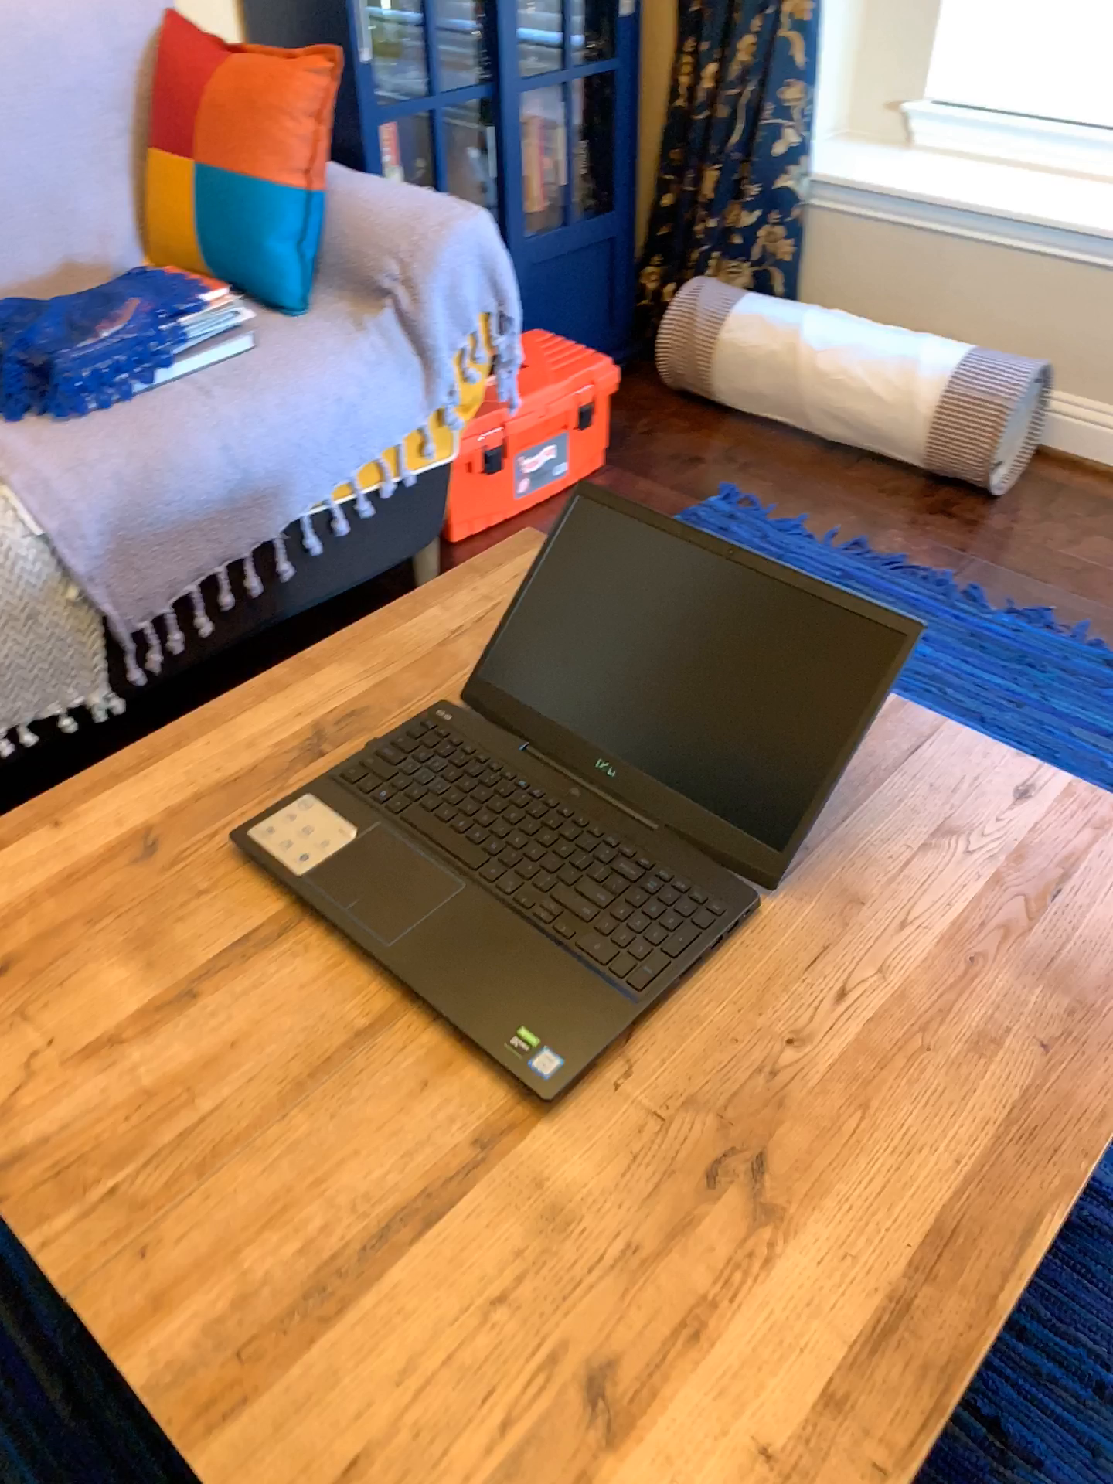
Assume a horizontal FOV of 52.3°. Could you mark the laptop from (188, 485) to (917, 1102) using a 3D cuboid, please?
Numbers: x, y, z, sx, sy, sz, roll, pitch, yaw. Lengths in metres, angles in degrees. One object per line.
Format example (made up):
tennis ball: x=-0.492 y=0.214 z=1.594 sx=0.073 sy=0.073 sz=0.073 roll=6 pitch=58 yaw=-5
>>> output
laptop: x=0.006 y=-0.003 z=0.887 sx=0.346 sy=0.156 sz=0.419 roll=30 pitch=49 yaw=32
